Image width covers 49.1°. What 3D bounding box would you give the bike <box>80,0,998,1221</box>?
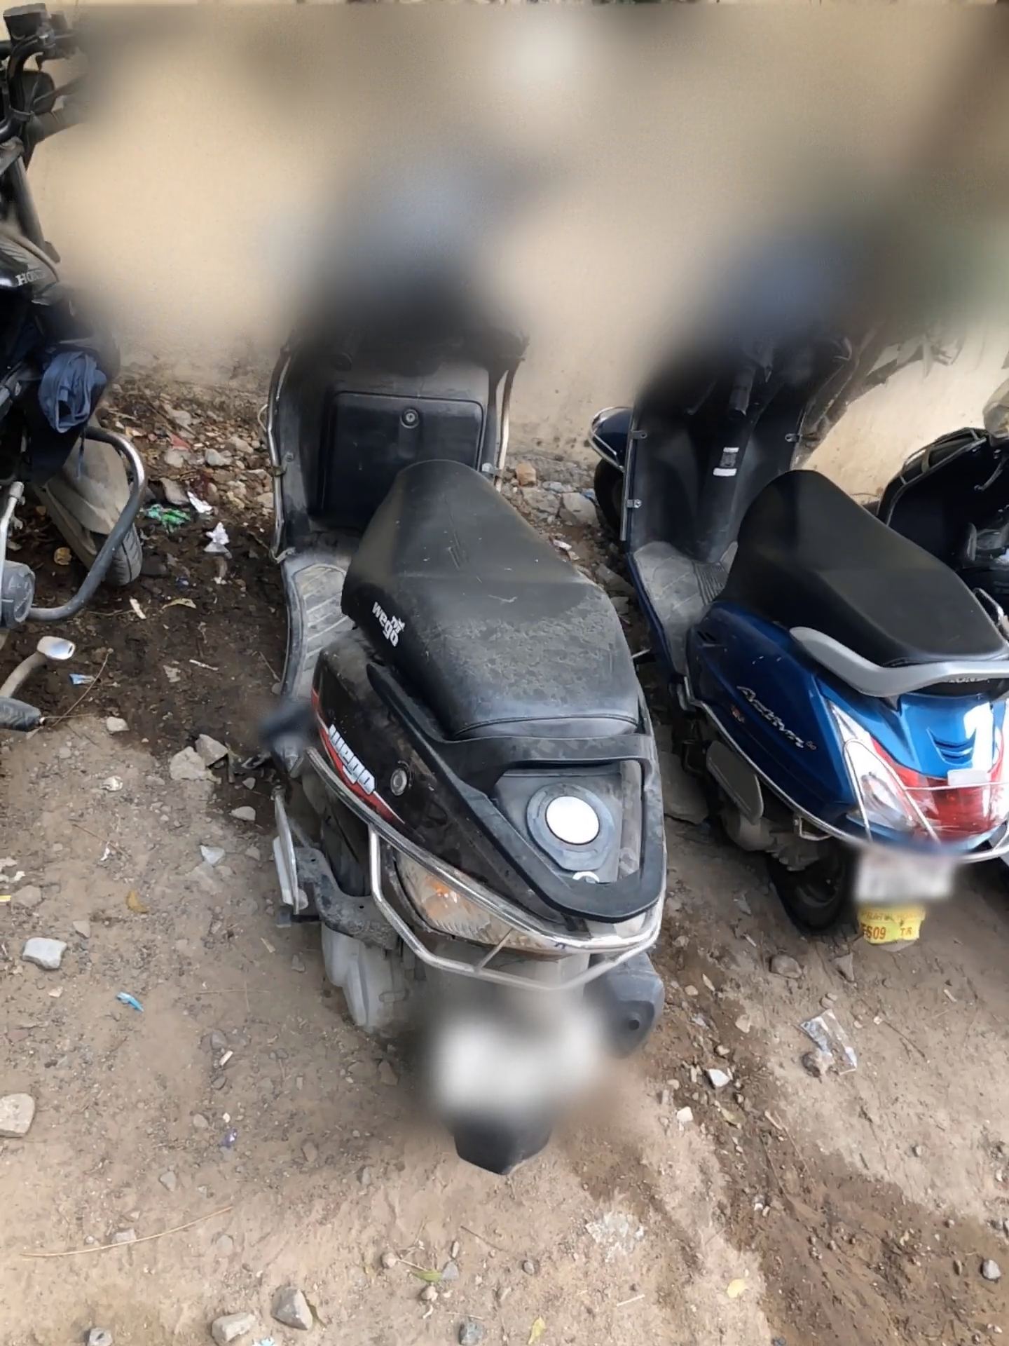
[{"bbox_3d":[-0.228,-0.316,1.658,0.529,1.114,1.563,3,40,-28],"label":"bike"}]
